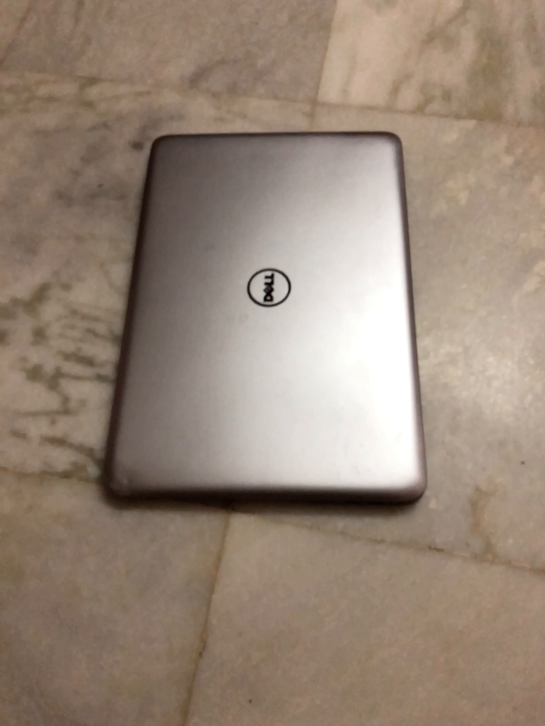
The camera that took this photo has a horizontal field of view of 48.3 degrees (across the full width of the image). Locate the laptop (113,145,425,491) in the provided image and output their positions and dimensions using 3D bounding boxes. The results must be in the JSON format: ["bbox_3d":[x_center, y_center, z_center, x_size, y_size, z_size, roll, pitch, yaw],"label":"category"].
[{"bbox_3d":[0.000,-0.059,0.544,0.244,0.002,0.347,0,66,3],"label":"laptop"}]
